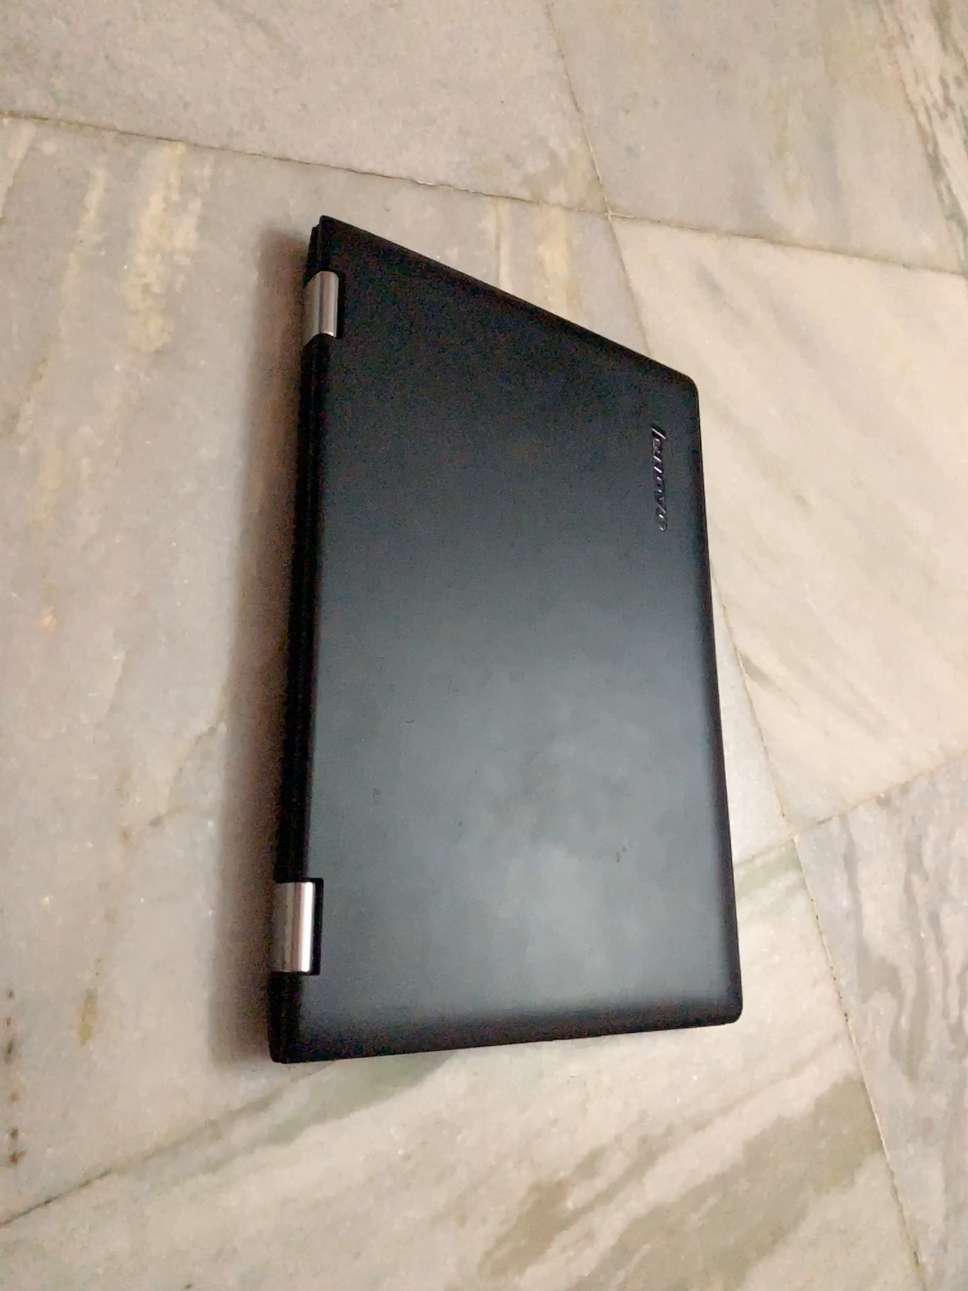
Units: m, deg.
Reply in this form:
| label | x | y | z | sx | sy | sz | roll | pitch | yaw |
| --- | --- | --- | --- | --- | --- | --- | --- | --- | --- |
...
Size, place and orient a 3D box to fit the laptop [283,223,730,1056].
| label | x | y | z | sx | sy | sz | roll | pitch | yaw |
| --- | --- | --- | --- | --- | --- | --- | --- | --- | --- |
| laptop | 0.023 | -0.004 | 0.437 | 0.224 | 0.001 | 0.325 | 11 | 71 | -35 |
